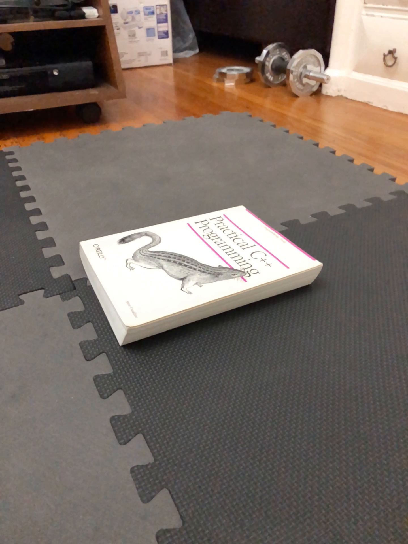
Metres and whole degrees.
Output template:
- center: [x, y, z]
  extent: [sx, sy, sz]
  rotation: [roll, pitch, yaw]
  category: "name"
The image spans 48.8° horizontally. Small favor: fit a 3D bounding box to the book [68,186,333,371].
- center: [-0.012, -0.012, 0.544]
  extent: [0.250, 0.050, 0.201]
  rotation: [-17, 42, -21]
  category: "book"
